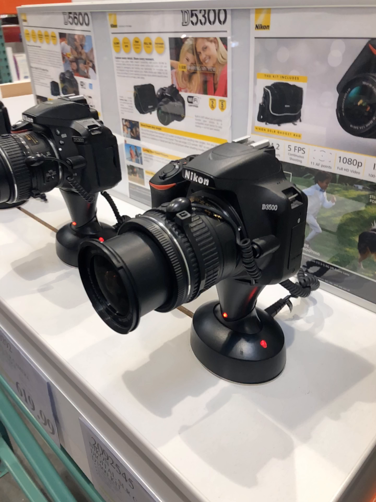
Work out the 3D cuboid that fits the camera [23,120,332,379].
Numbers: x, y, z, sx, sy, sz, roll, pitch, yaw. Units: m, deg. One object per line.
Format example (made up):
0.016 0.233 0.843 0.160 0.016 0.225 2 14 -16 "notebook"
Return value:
-0.005 -0.020 0.278 0.140 0.089 0.131 -27 39 -37 "camera"
